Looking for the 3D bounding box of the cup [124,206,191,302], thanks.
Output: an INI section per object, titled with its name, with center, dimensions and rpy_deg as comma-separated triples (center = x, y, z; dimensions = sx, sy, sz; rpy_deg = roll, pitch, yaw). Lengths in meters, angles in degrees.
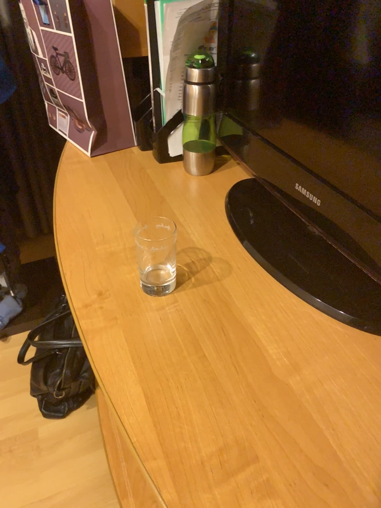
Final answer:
[cup]
center = -0.041, 0.000, 0.524
dimensions = 0.060, 0.099, 0.060
rpy_deg = 0, 37, 0
